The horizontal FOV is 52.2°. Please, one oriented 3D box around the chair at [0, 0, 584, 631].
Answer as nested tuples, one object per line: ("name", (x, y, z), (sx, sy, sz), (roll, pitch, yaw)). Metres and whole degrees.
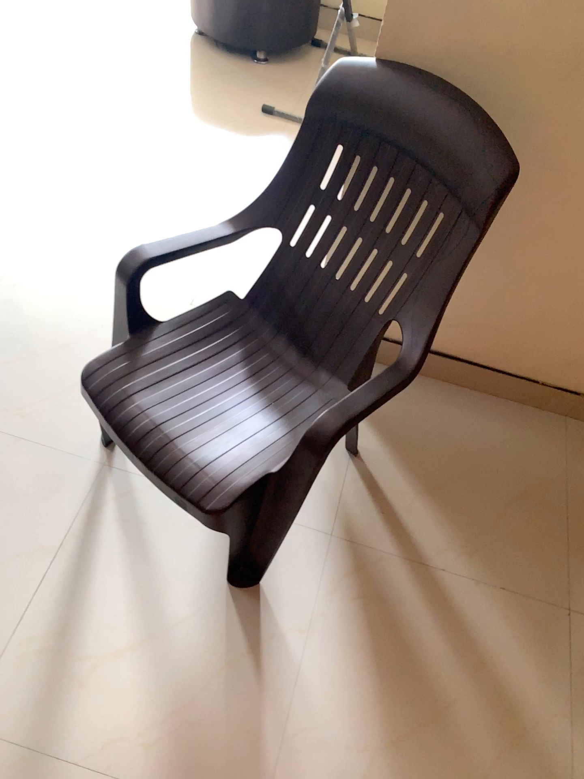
("chair", (-0.047, -0.089, 1.279), (0.663, 1.032, 0.602), (-35, 65, -29))
